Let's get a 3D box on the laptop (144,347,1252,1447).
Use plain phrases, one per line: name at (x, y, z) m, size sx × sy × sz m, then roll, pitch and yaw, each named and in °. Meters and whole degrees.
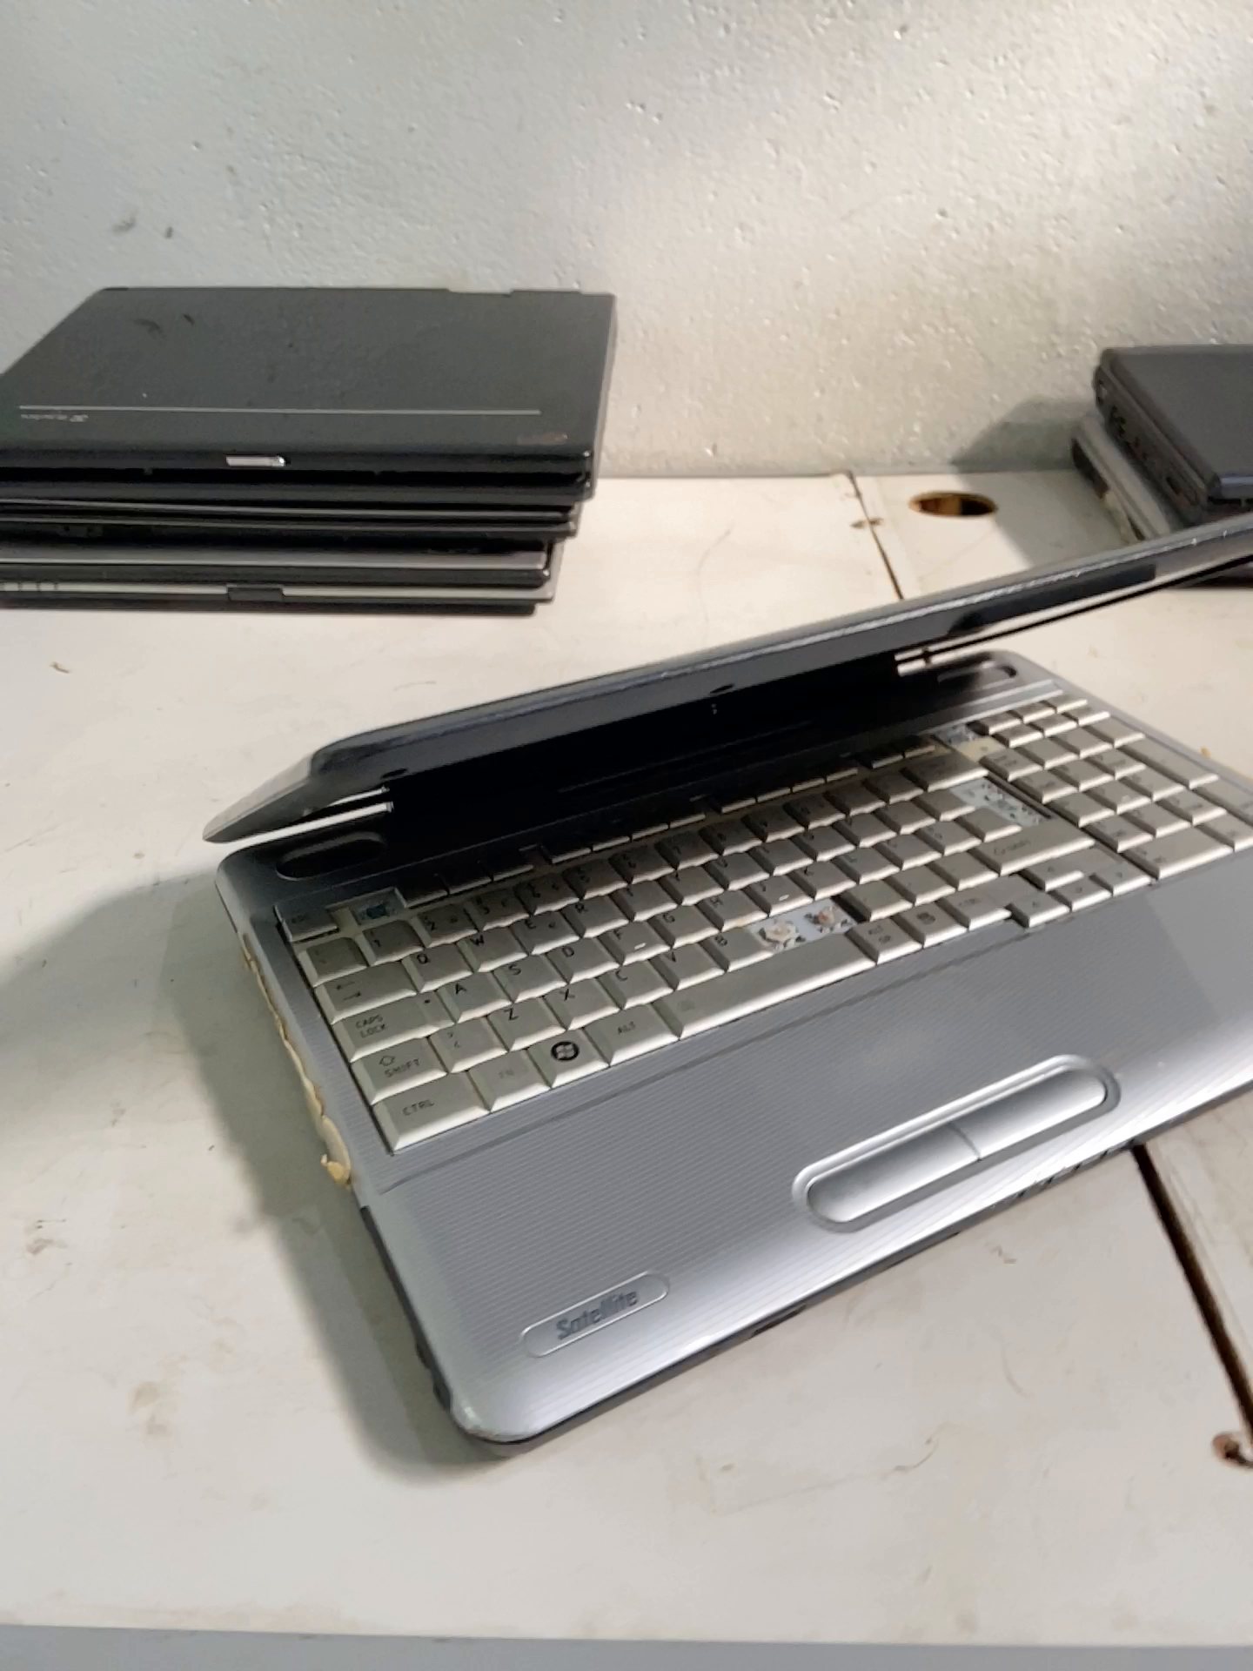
laptop at (0.074, -0.038, 0.416) m, size 0.372 × 0.143 × 0.256 m, roll -16°, pitch 36°, yaw -24°
